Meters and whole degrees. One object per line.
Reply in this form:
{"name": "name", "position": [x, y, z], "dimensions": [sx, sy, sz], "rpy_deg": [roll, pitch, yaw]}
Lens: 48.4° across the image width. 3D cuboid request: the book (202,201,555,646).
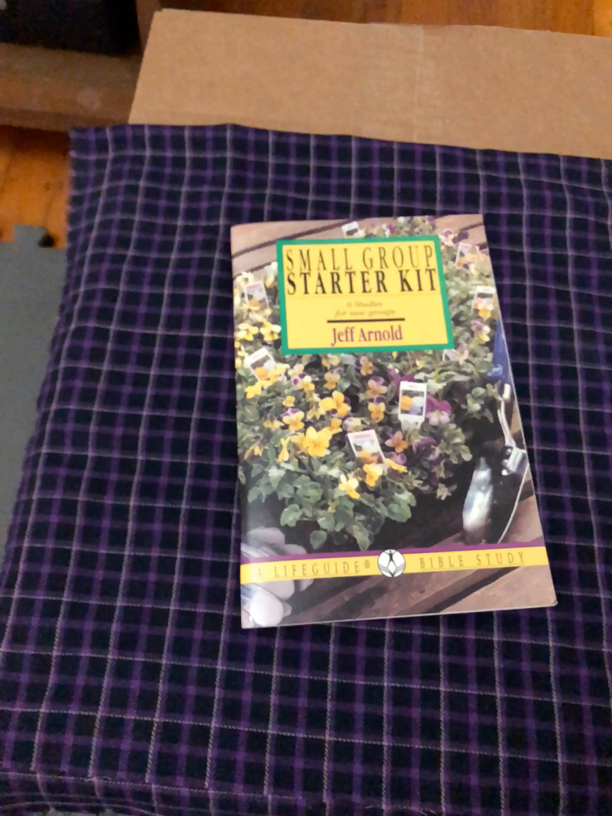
{"name": "book", "position": [0.025, -0.004, 0.335], "dimensions": [0.150, 0.010, 0.221], "rpy_deg": [-3, 69, -1]}
